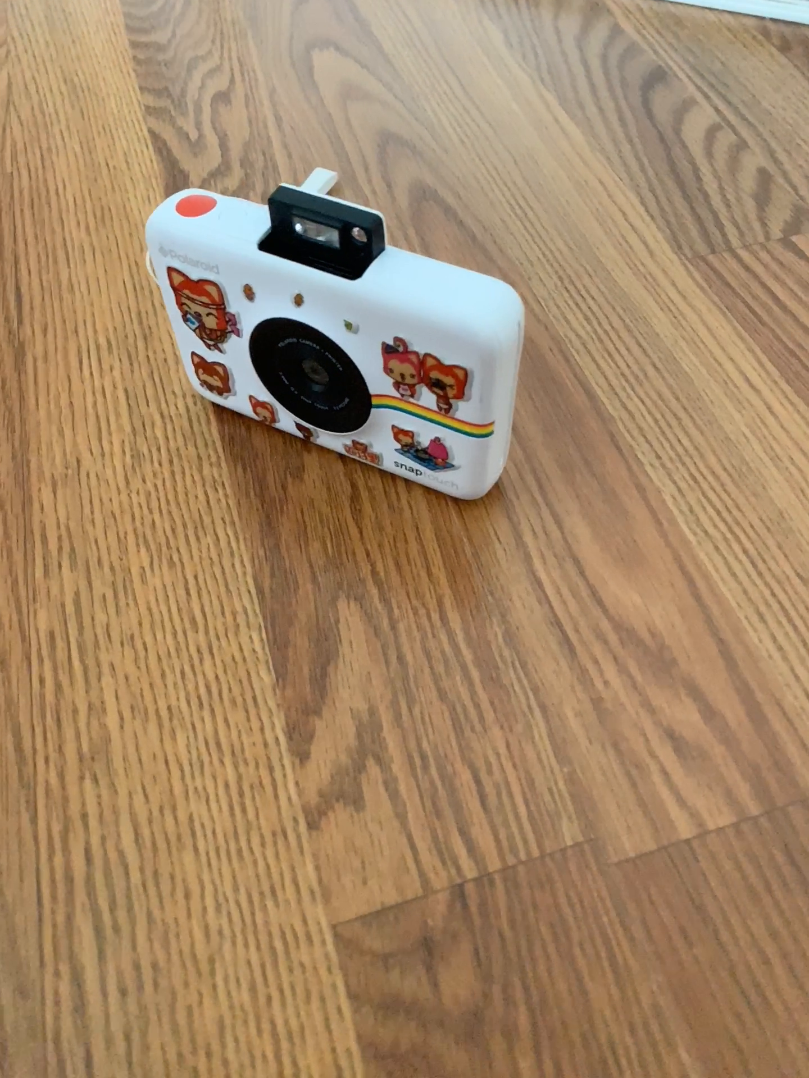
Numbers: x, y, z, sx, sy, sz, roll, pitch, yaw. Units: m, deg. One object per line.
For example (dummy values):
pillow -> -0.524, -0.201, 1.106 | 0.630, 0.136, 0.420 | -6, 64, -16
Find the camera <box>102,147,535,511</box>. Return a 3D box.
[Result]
camera -> -0.026, -0.065, 0.264 | 0.125, 0.081, 0.026 | 22, 58, 18
